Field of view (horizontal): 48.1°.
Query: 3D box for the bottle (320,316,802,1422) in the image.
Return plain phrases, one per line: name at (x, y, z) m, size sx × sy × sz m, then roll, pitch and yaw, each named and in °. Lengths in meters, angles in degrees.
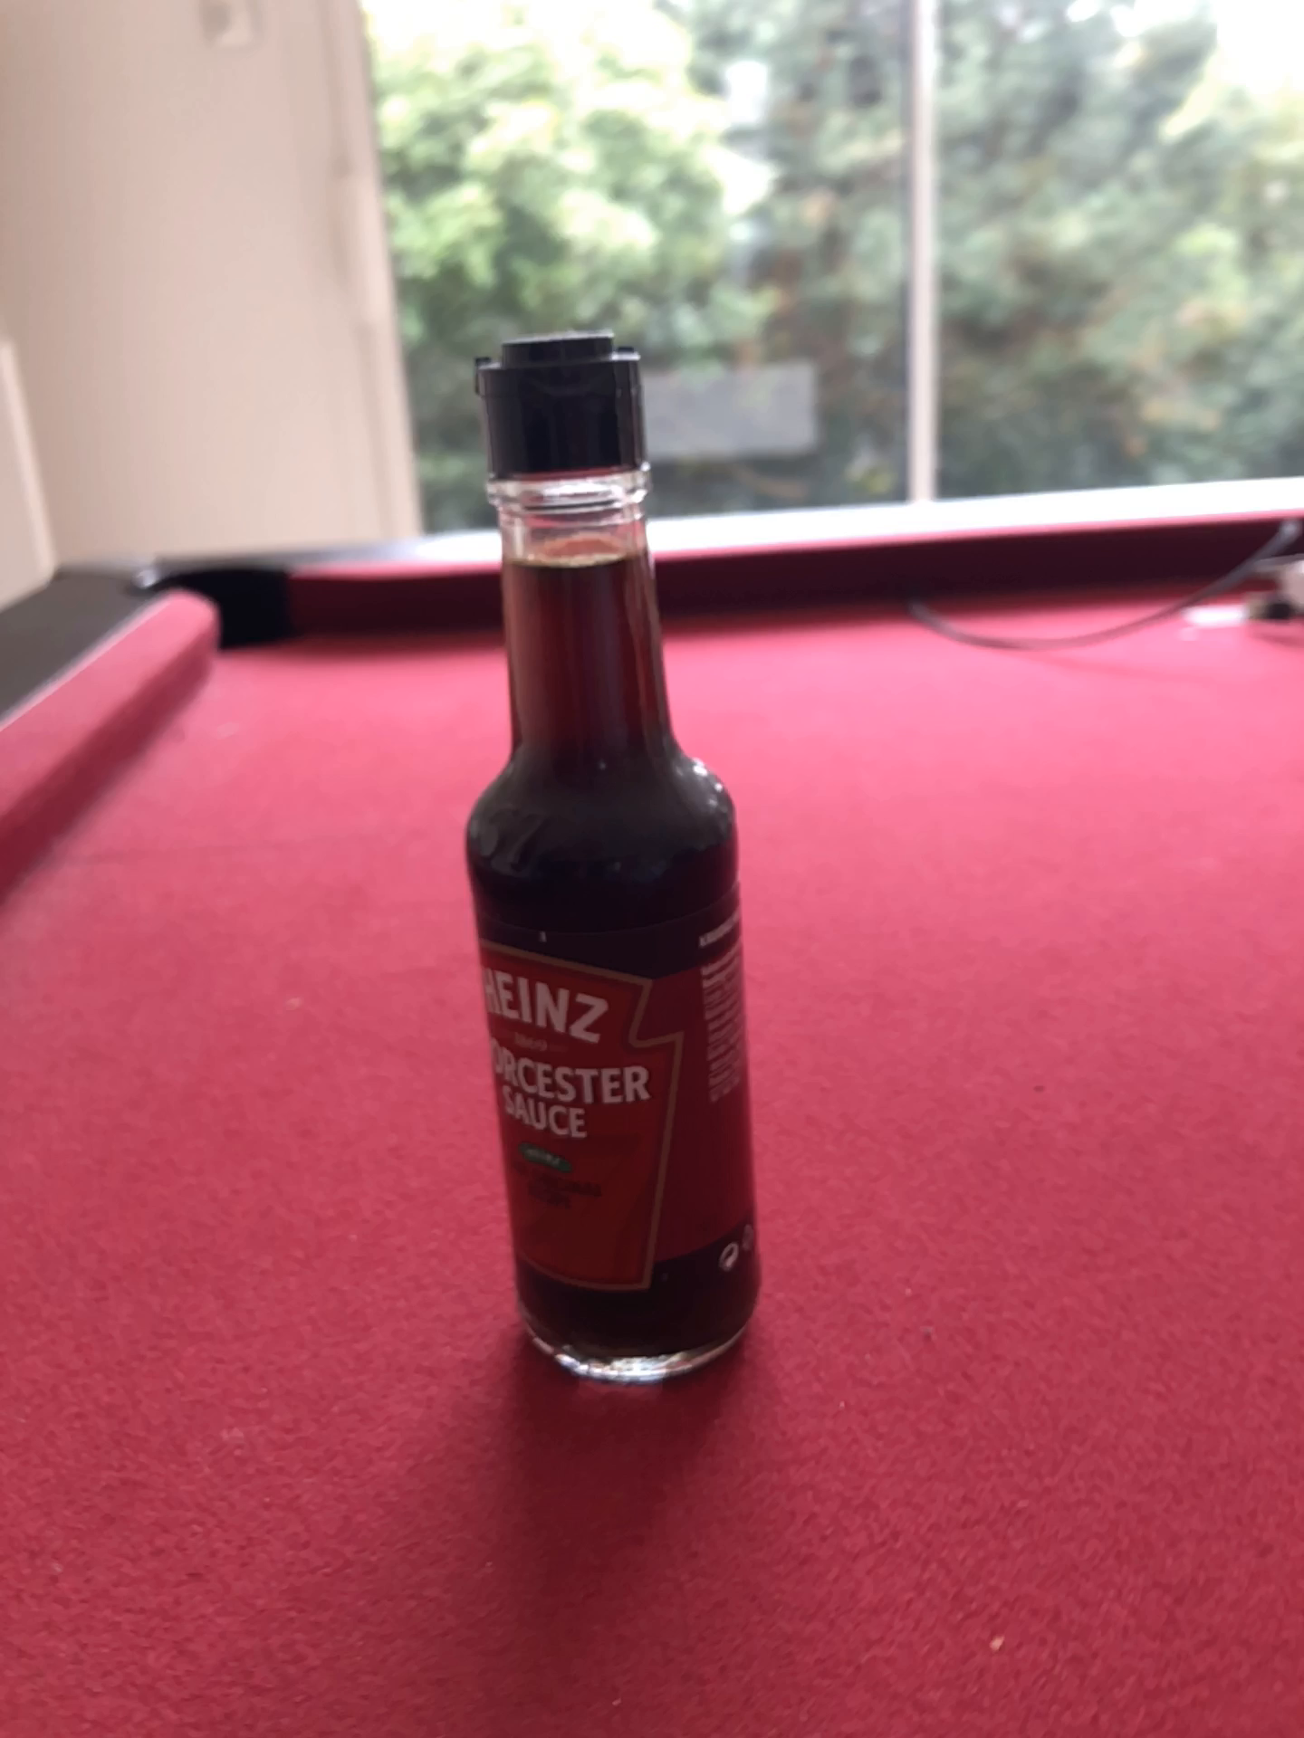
bottle at (-0.010, 0.000, 0.258) m, size 0.050 × 0.179 × 0.050 m, roll -3°, pitch 20°, yaw 1°
